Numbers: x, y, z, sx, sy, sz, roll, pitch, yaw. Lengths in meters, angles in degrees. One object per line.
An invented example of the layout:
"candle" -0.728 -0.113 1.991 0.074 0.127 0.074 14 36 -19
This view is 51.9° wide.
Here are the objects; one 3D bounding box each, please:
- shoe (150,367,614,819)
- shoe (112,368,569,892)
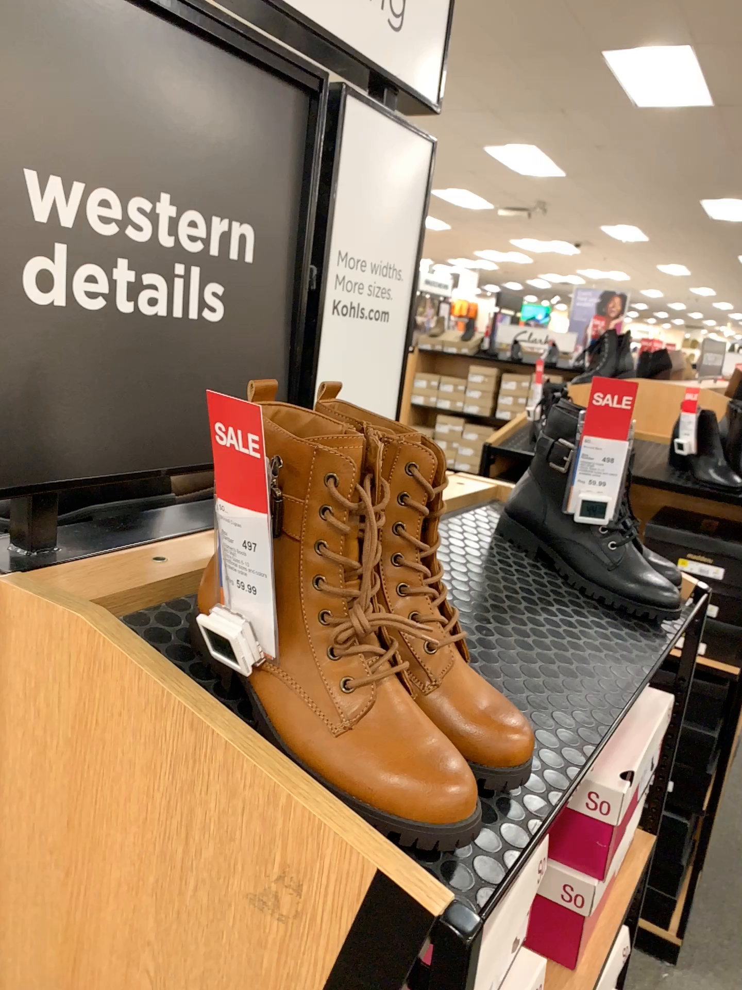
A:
"shoe" -0.004 0.045 0.544 0.286 0.229 0.110 14 14 26
"shoe" -0.041 0.055 0.485 0.276 0.229 0.090 17 15 37
